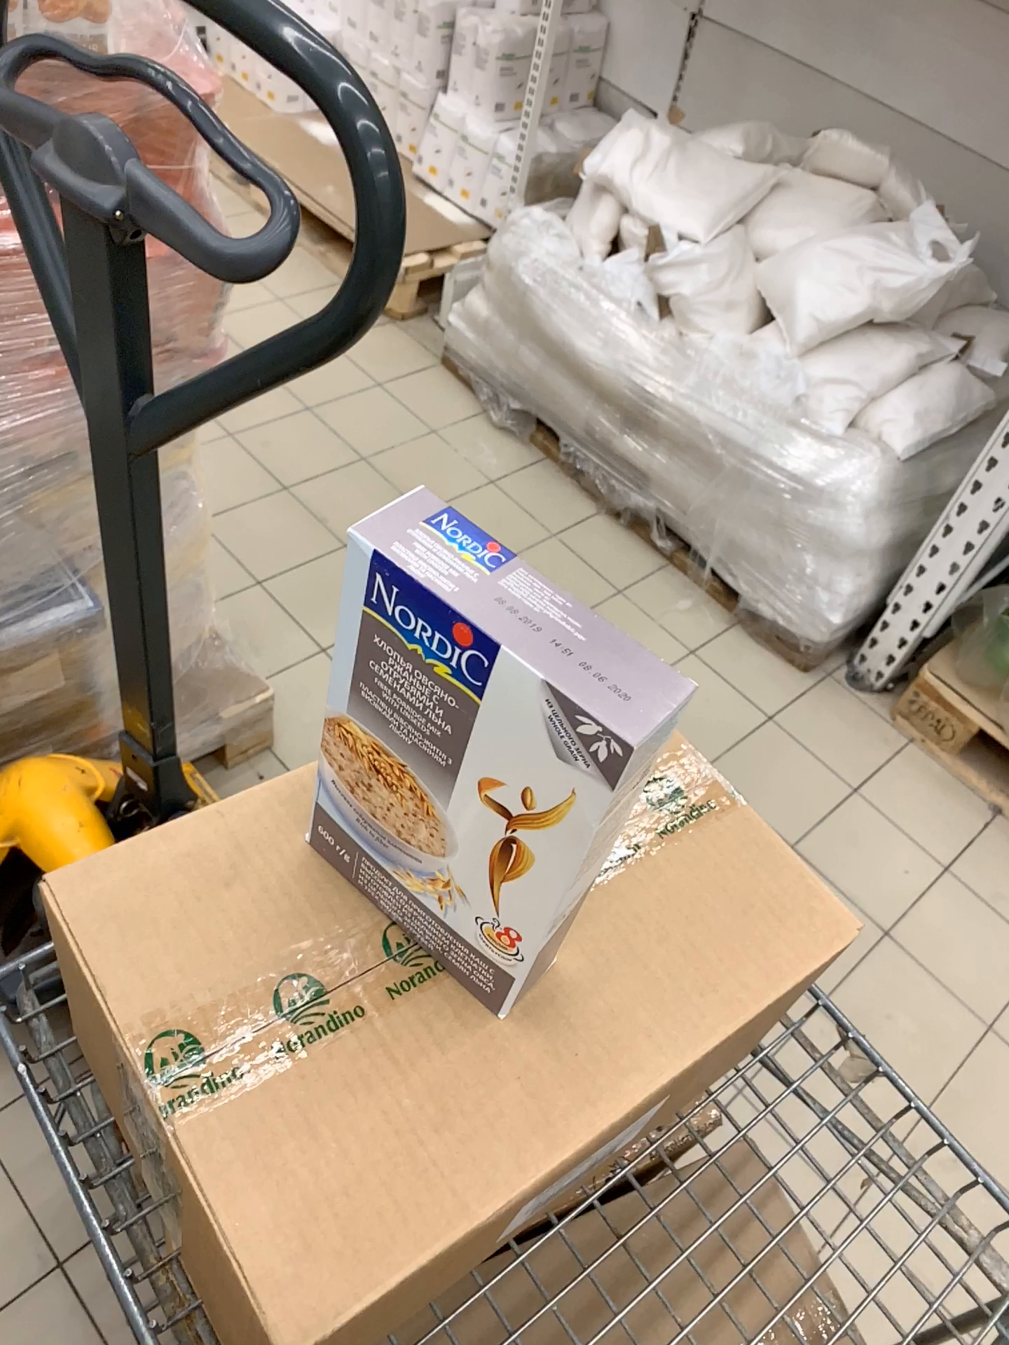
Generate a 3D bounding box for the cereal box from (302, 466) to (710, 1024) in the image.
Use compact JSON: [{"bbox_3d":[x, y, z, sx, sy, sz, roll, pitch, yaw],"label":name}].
[{"bbox_3d":[-0.018,0.047,0.482,0.150,0.239,0.050,37,51,18],"label":"cereal box"}]
